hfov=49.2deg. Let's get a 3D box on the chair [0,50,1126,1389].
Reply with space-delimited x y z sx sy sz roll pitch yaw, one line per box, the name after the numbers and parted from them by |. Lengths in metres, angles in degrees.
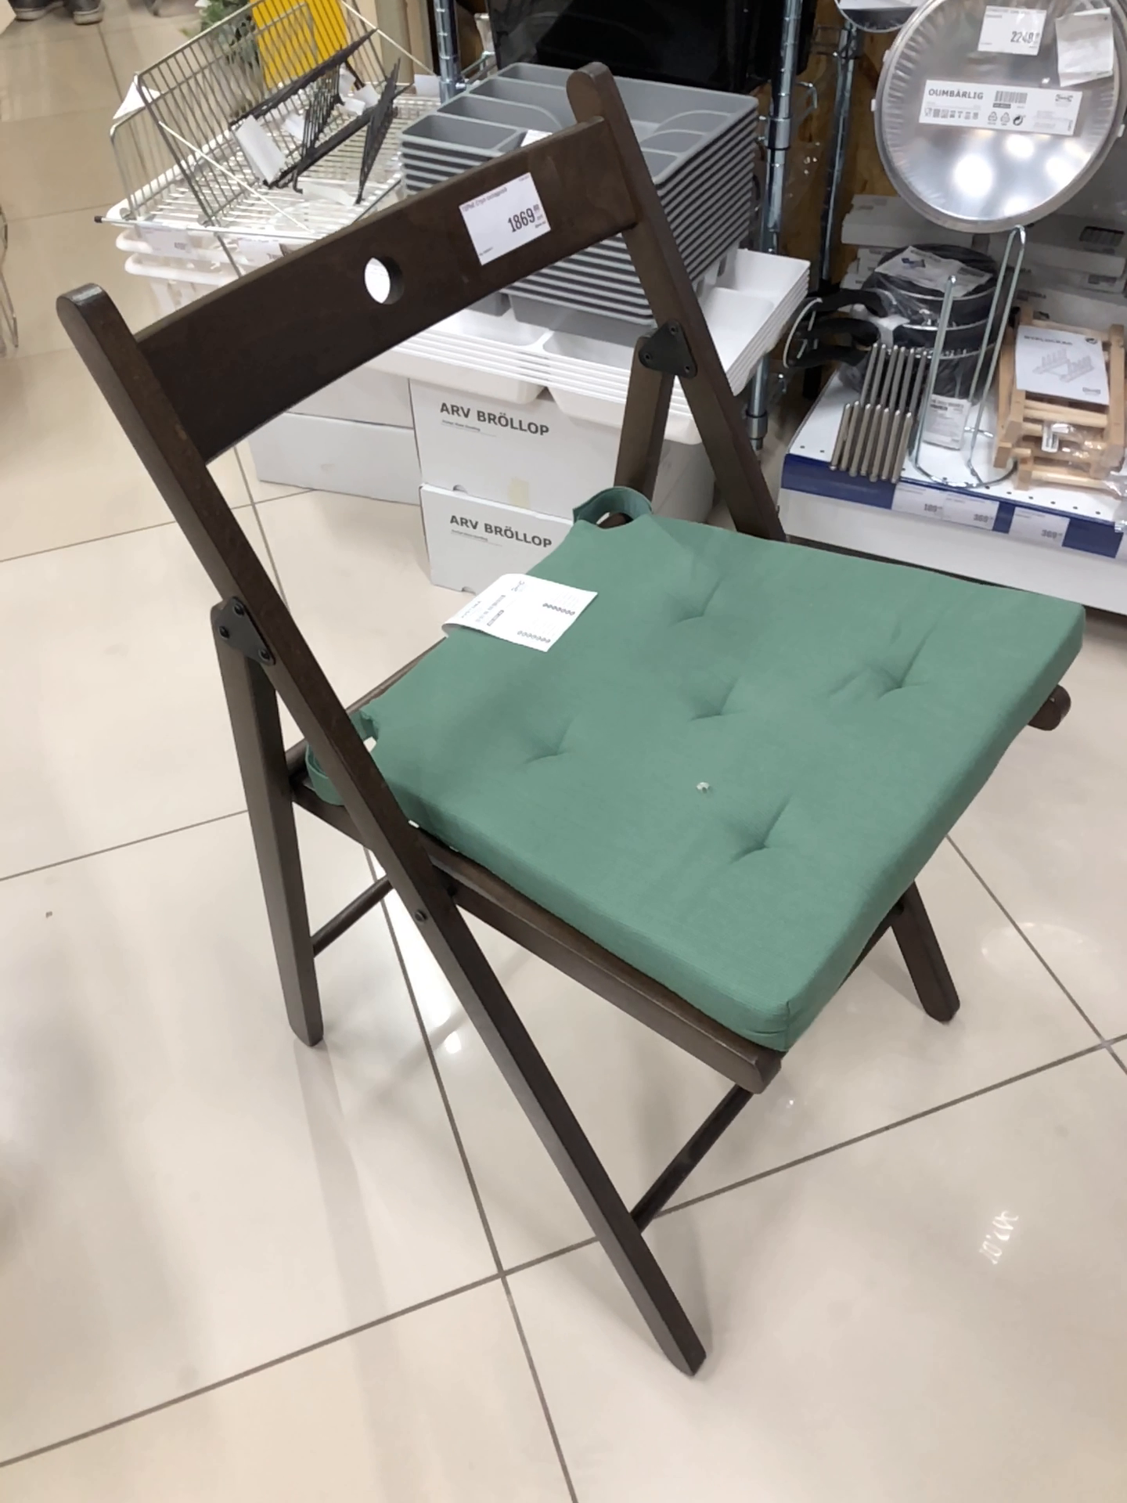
0.044 -0.013 0.866 0.481 0.685 0.442 30 54 28 | chair
